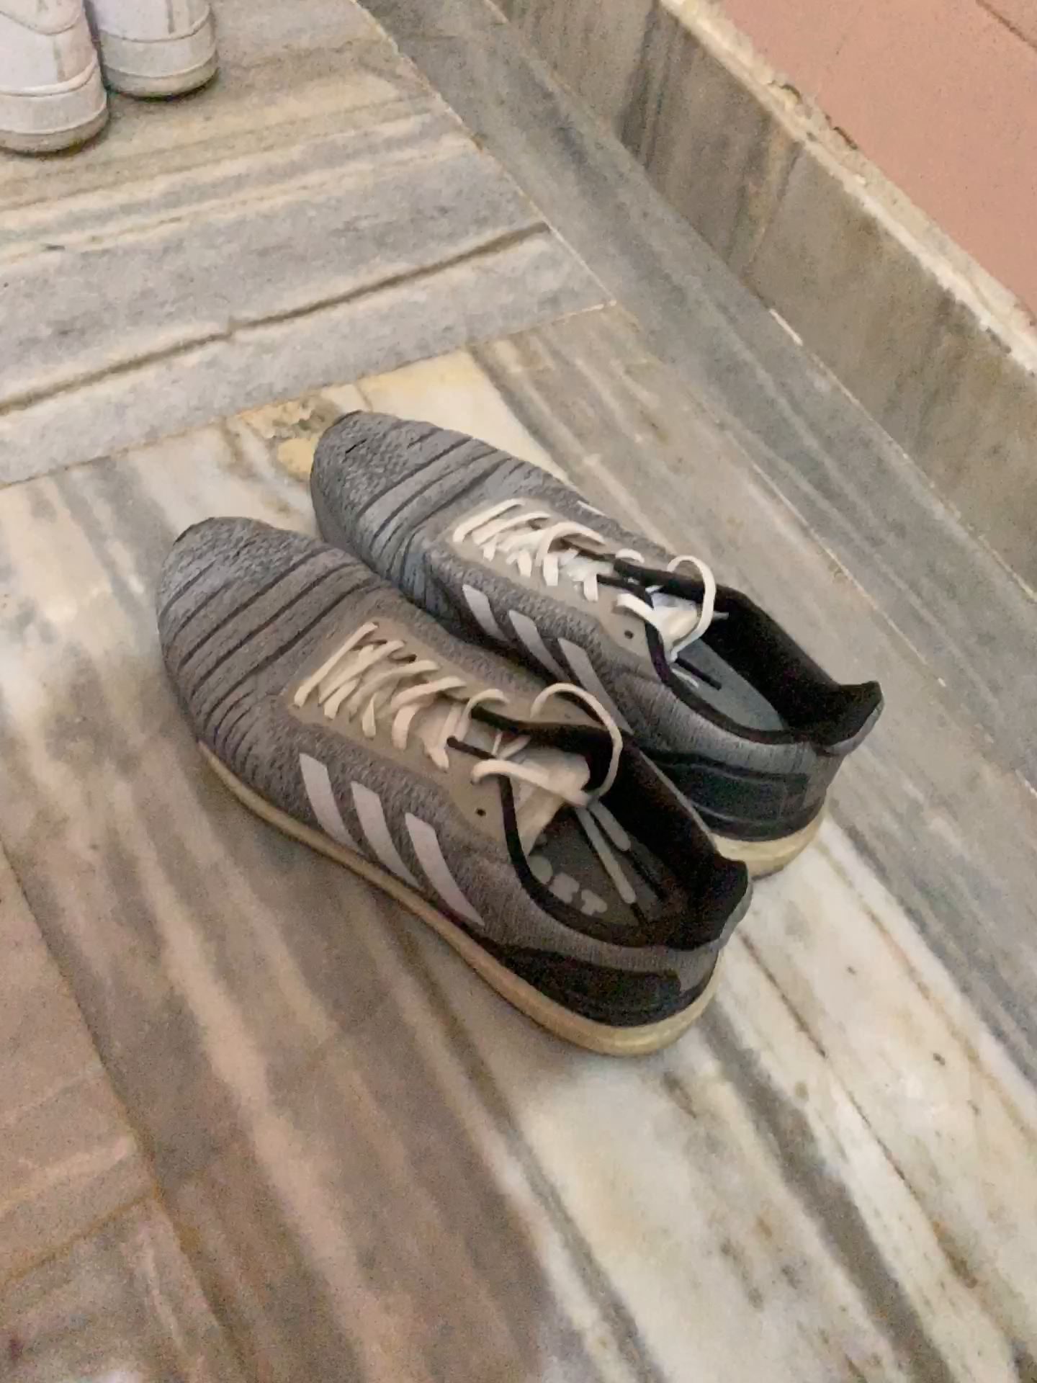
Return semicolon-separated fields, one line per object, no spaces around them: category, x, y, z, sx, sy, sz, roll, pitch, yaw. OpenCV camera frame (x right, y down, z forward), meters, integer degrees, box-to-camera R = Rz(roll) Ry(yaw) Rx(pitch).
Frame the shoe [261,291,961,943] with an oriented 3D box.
shoe;0.030;-0.041;0.488;0.310;0.080;0.110;41;60;11

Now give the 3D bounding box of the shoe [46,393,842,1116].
shoe;-0.036;0.021;0.445;0.300;0.090;0.120;38;60;9
